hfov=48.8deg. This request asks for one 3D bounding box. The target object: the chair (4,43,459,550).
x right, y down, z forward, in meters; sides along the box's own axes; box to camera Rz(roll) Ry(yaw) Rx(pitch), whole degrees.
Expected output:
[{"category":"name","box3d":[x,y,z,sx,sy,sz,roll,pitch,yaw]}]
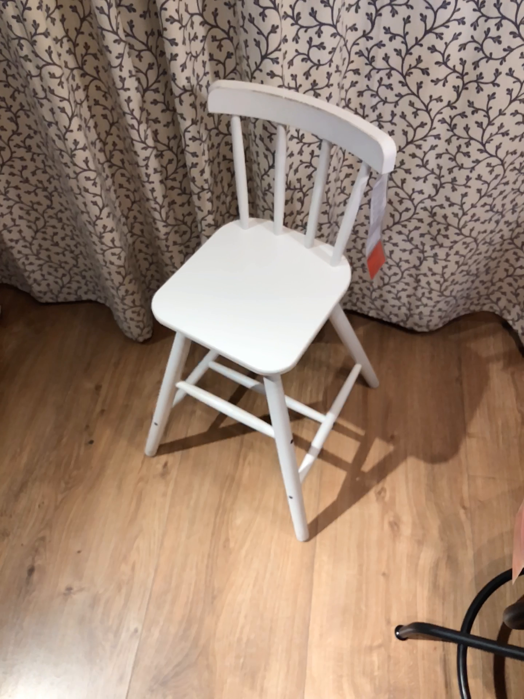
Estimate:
[{"category":"chair","box3d":[-0.006,-0.046,1.040,0.421,0.706,0.452,23,60,19]}]
